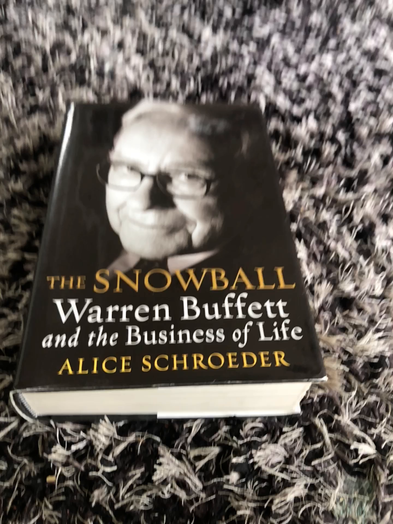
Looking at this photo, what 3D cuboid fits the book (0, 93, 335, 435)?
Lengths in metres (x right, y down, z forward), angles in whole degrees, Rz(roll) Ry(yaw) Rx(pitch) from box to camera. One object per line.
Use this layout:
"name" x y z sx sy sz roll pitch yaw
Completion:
"book" -0.029 -0.019 0.314 0.180 0.060 0.251 -1 54 -6
